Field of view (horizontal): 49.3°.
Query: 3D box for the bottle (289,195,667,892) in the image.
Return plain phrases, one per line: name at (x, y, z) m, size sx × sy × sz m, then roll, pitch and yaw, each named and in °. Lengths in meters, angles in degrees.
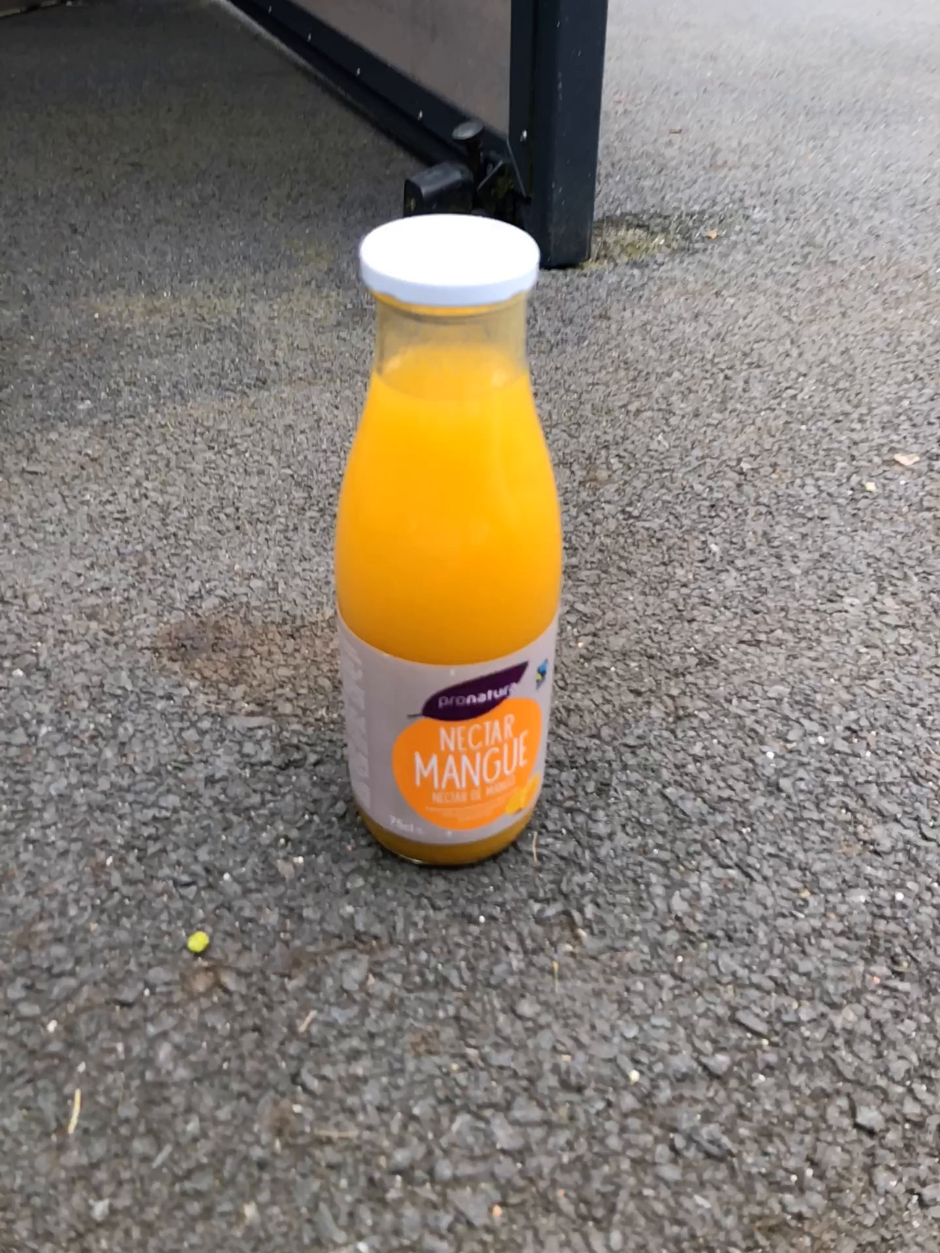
bottle at (-0.002, -0.019, 0.338) m, size 0.080 × 0.209 × 0.080 m, roll 0°, pitch 39°, yaw 0°
